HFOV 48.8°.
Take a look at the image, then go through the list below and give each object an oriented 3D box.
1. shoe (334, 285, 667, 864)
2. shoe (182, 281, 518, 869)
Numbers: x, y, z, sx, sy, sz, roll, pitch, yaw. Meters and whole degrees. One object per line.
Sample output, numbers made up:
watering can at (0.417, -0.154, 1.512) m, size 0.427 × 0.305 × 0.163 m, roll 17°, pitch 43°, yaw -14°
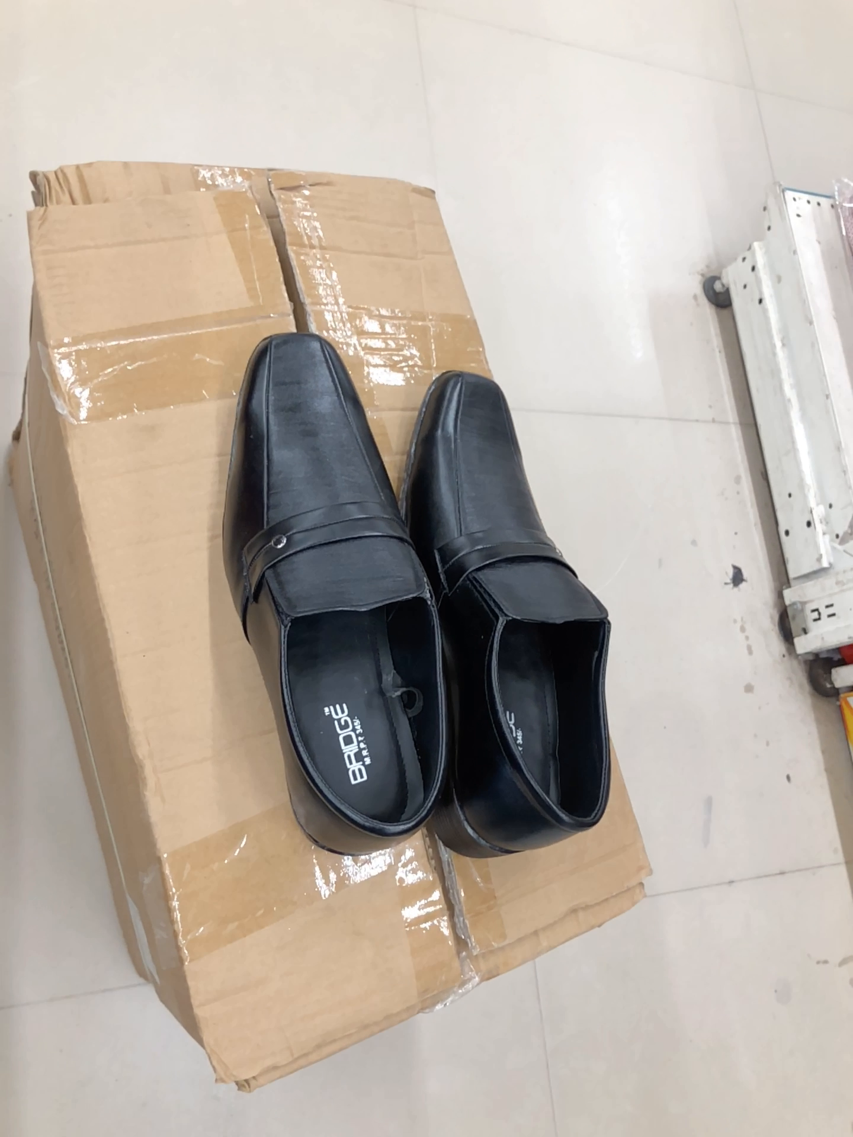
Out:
shoe at (0.035, 0.009, 0.570) m, size 0.100 × 0.129 × 0.310 m, roll 3°, pitch 73°, yaw -35°
shoe at (-0.054, 0.005, 0.523) m, size 0.100 × 0.129 × 0.290 m, roll -7°, pitch 77°, yaw -24°
